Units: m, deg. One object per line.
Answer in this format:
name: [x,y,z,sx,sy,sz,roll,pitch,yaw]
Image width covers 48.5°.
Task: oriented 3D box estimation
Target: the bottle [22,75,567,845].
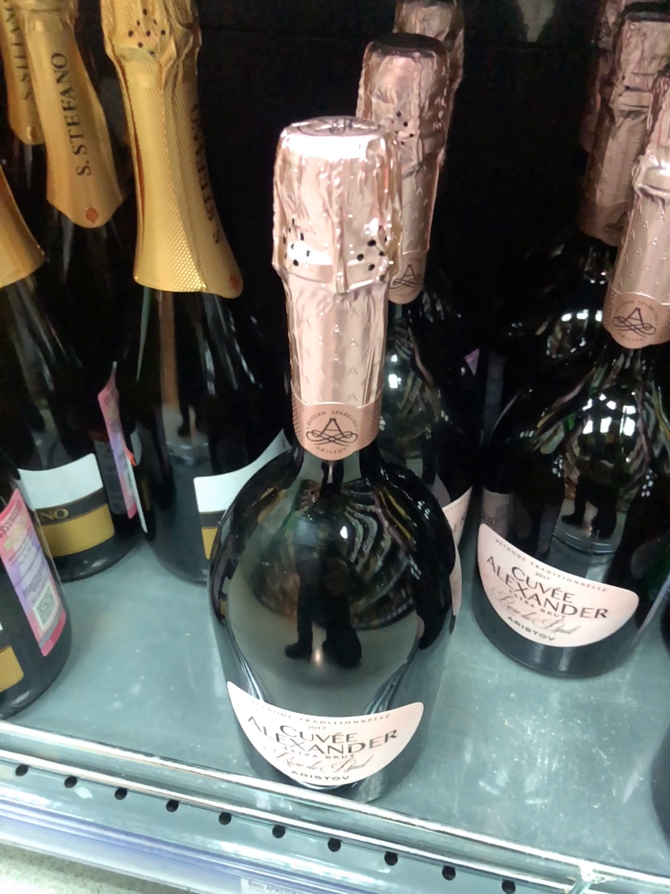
bottle: [-0.004,0.030,0.271,0.110,0.278,0.091,5,40,6]
